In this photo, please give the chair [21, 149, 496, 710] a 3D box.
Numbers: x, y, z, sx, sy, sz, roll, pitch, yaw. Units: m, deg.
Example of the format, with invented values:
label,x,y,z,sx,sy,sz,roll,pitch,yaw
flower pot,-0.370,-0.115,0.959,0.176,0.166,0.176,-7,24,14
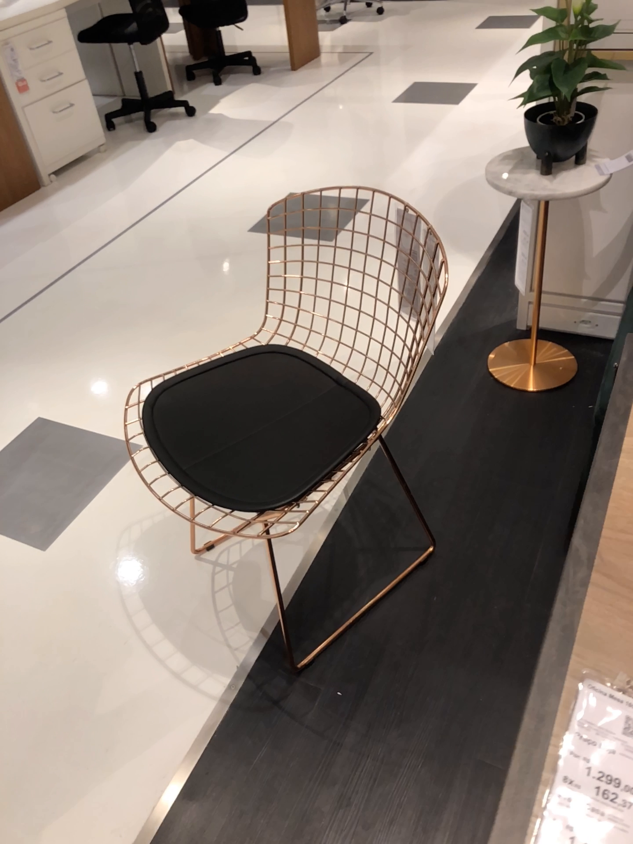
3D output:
label,x,y,z,sx,sy,sz,roll,pitch,yaw
chair,-0.063,-0.004,1.313,0.541,0.744,0.522,-32,45,-25
